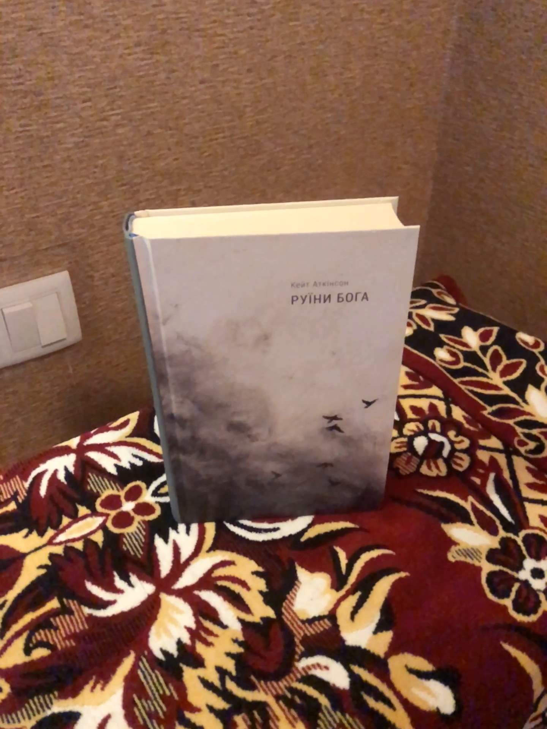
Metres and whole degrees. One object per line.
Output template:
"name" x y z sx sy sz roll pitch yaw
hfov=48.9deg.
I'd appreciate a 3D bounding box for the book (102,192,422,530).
"book" -0.006 0.008 0.351 0.145 0.200 0.048 -3 37 -4
